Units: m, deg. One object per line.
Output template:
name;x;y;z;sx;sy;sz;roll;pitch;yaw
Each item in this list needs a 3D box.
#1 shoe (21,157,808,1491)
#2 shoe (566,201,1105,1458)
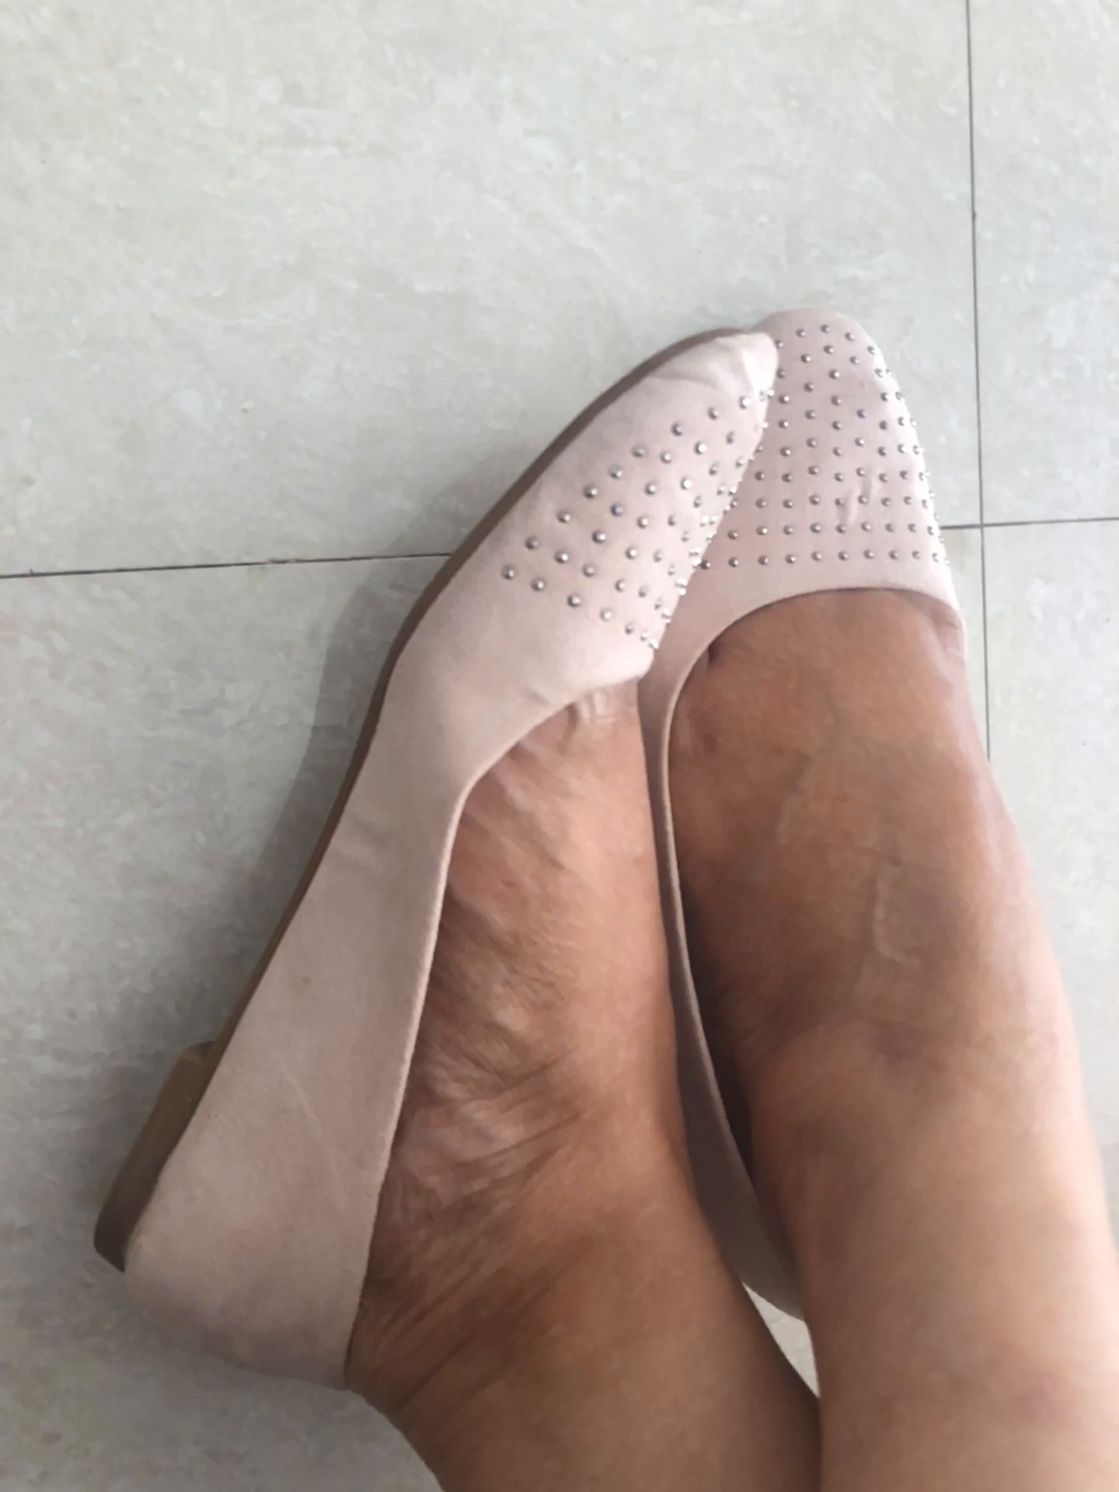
shoe;-0.023;0.015;0.269;0.060;0.090;0.240;21;93;20
shoe;0.063;0.020;0.315;0.100;0.080;0.270;0;94;-16
